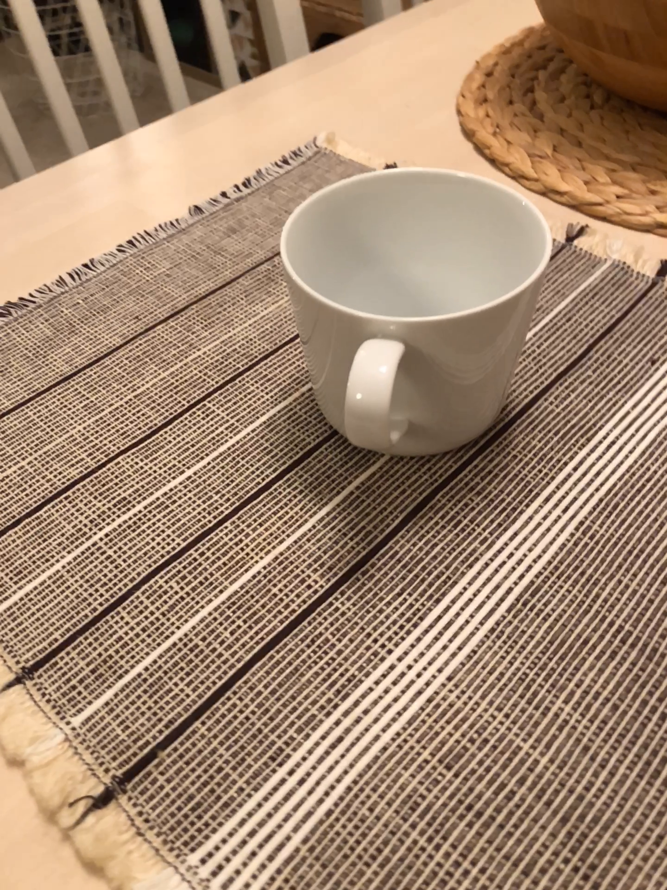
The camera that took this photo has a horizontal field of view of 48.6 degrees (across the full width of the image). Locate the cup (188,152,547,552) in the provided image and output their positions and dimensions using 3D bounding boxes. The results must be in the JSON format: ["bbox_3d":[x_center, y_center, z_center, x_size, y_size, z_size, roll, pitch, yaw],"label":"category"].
[{"bbox_3d":[0.022,-0.045,0.288,0.100,0.070,0.141,9,48,11],"label":"cup"}]
